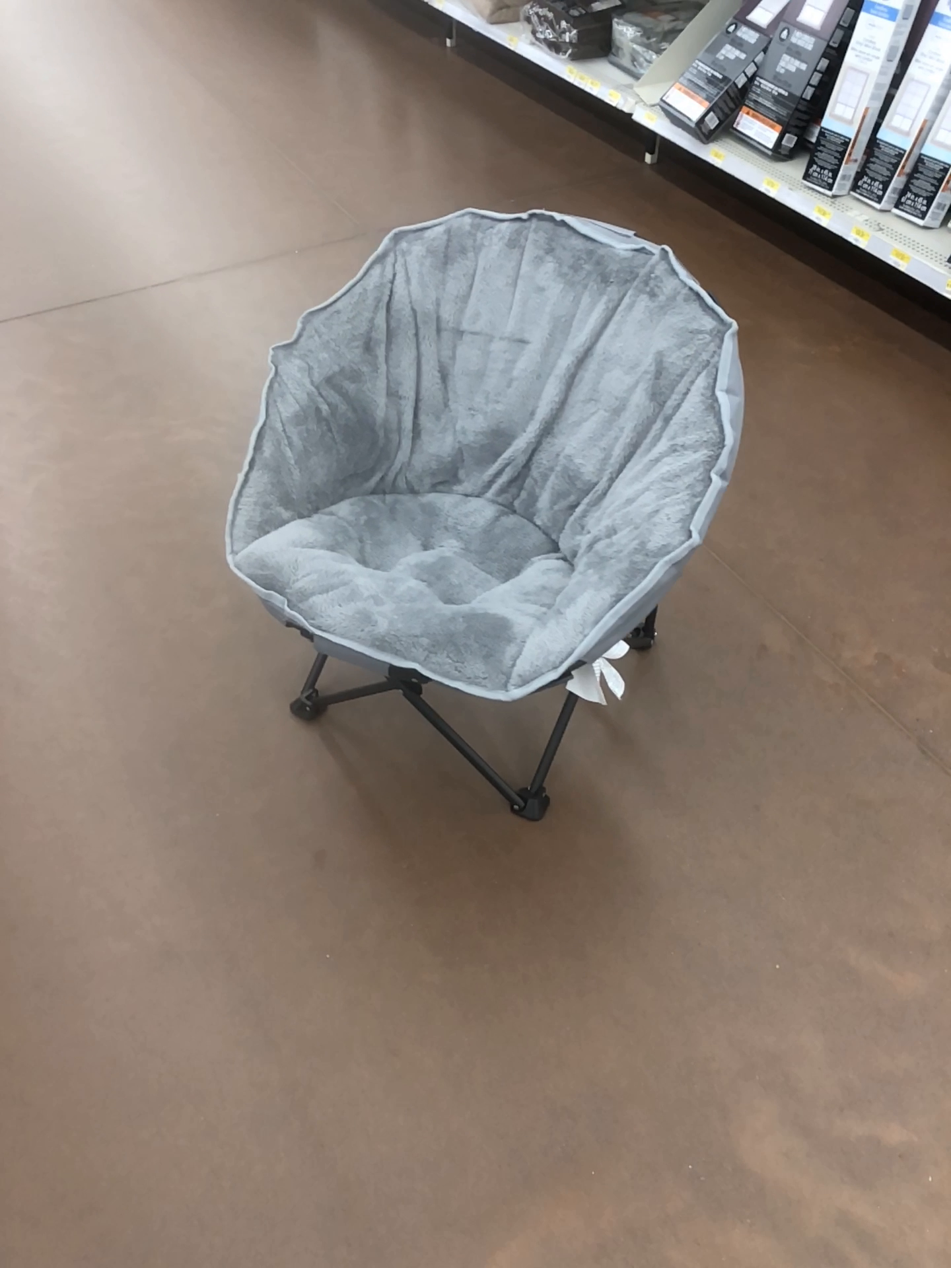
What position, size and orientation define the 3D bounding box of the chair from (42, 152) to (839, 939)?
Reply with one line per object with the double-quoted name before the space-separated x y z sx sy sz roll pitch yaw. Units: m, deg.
"chair" 0.001 -0.147 1.250 0.571 0.528 0.631 21 48 20
